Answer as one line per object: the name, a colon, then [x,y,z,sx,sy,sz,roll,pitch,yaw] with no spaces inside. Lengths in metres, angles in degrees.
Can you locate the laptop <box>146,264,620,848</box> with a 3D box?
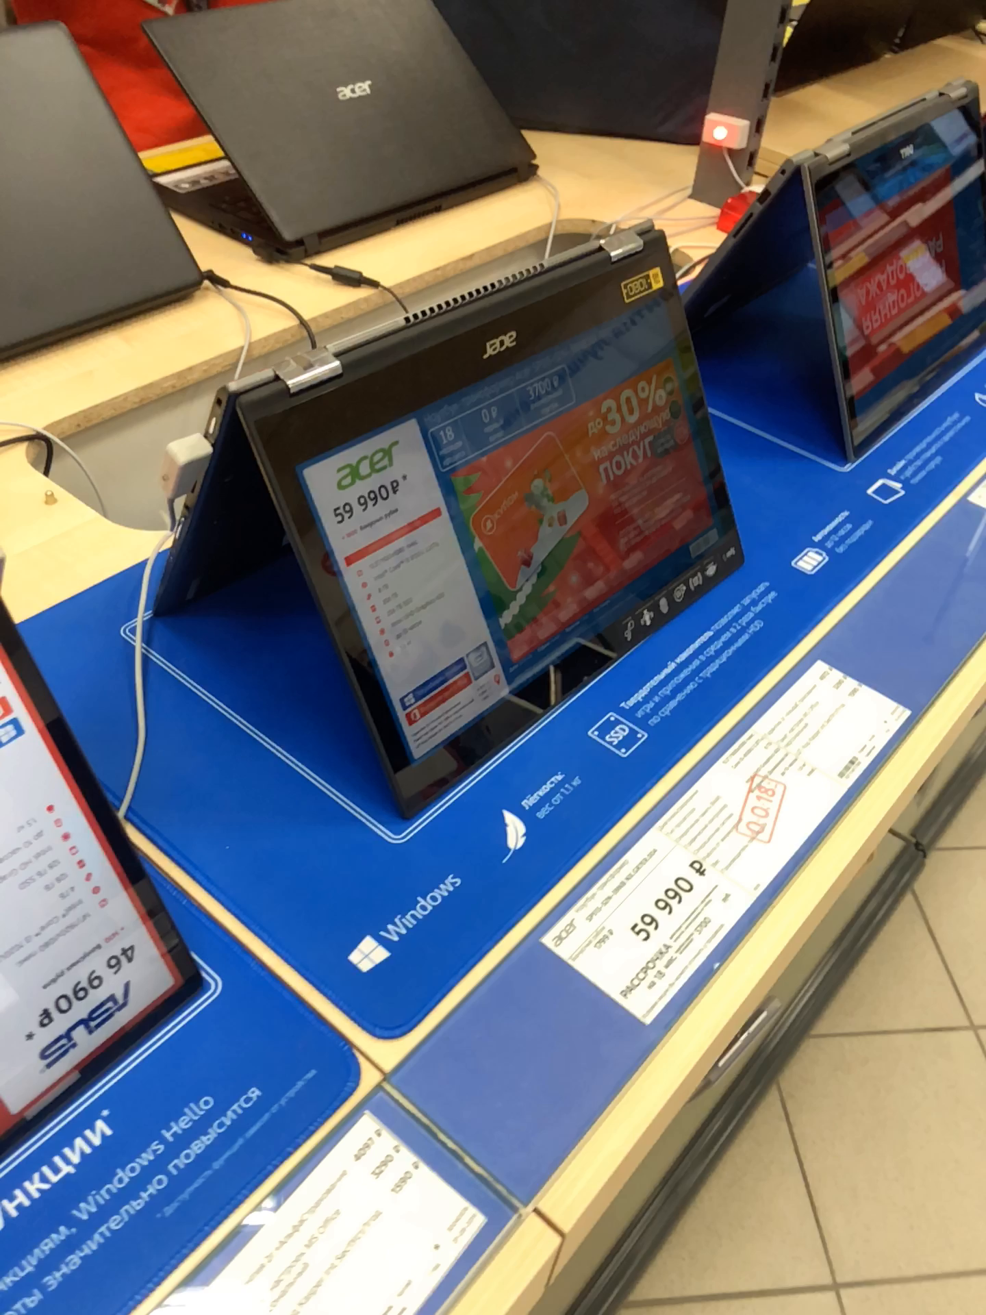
laptop: [-0.068,-0.059,0.721,0.201,0.159,0.308,-9,20,42]

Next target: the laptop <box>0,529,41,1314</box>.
laptop: [-0.321,0.130,0.429,0.175,0.179,0.270,1,27,43]
